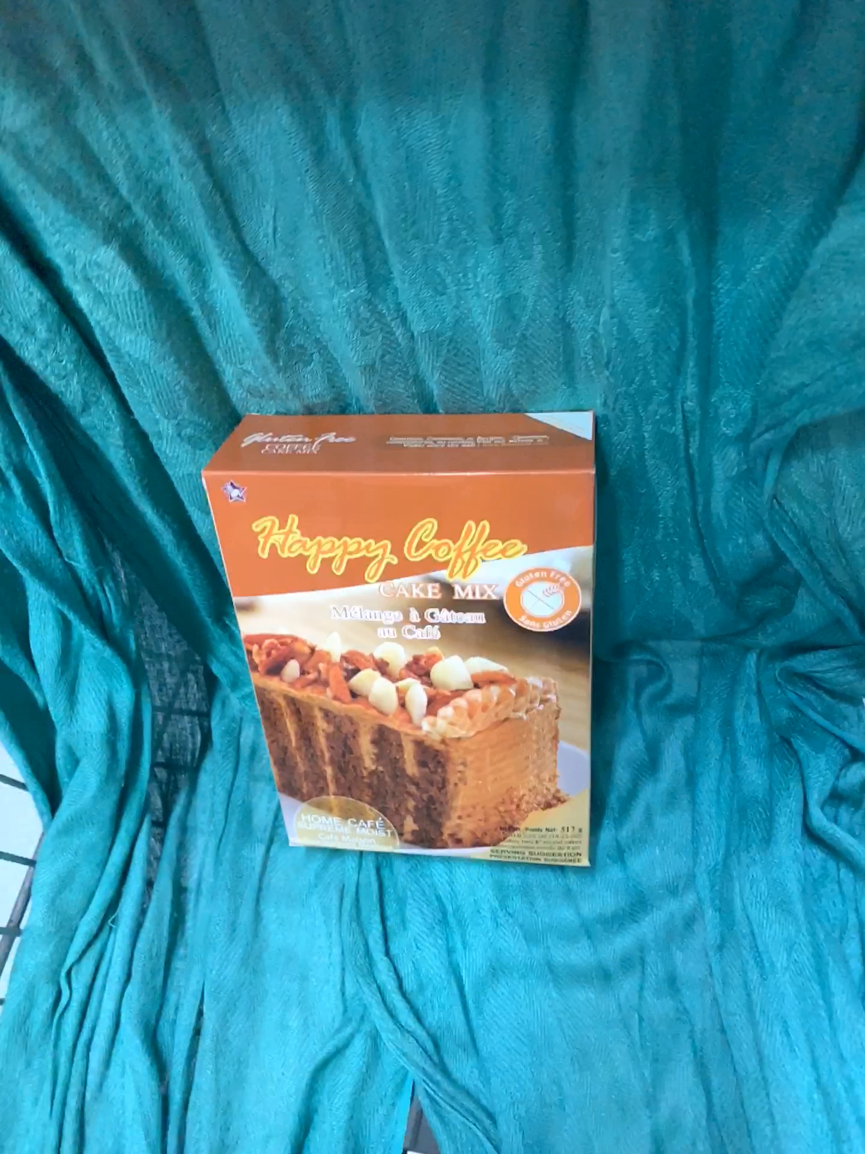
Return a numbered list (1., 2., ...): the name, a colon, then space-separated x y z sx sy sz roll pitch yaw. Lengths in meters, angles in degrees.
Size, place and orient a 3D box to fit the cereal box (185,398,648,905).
1. cereal box: 0.003 0.038 0.360 0.150 0.210 0.050 1 33 9
